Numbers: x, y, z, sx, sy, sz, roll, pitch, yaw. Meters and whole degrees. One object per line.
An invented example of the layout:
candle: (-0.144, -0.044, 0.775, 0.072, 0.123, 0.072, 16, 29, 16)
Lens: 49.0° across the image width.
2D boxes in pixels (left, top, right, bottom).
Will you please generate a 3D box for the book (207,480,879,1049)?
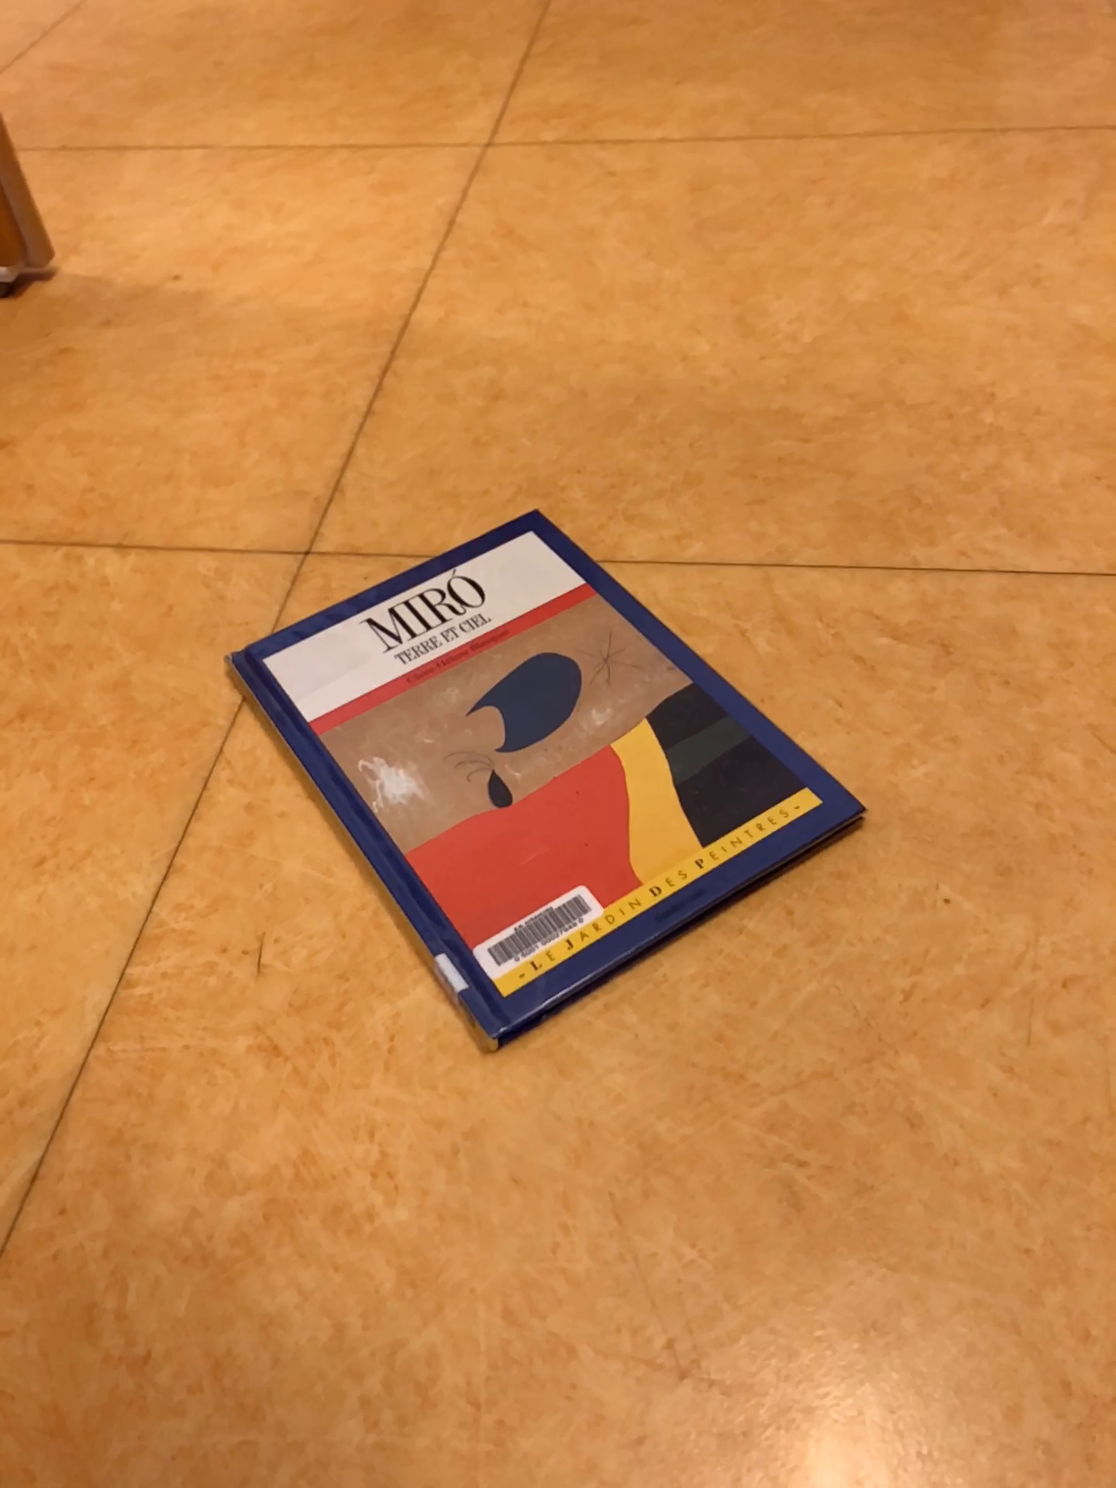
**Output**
book: (-0.018, -0.014, 0.516, 0.178, 0.020, 0.246, -28, 50, -18)
